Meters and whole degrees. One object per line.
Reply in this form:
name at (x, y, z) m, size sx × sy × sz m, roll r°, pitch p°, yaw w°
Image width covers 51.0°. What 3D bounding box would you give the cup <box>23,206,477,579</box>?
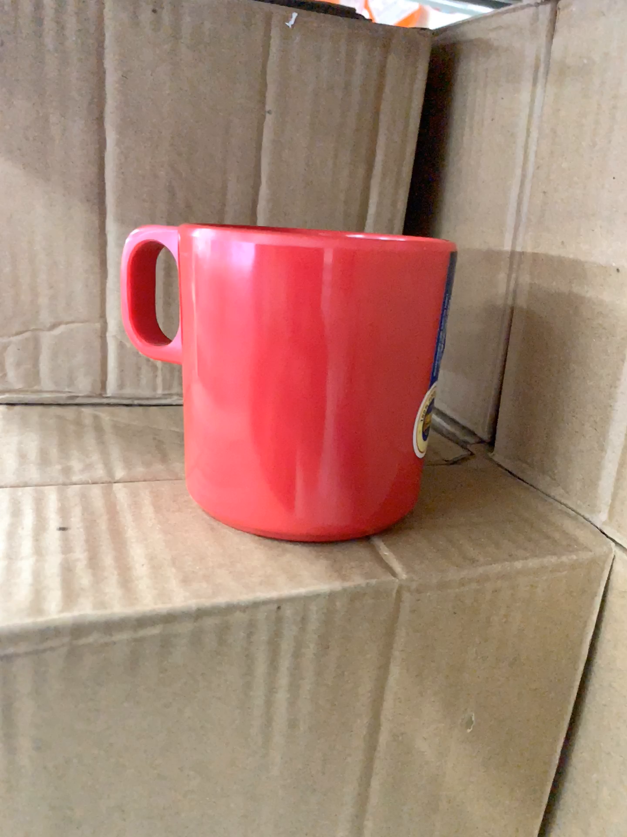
cup at (-0.020, -0.020, 0.201) m, size 0.110 × 0.080 × 0.070 m, roll 14°, pitch 21°, yaw 29°
